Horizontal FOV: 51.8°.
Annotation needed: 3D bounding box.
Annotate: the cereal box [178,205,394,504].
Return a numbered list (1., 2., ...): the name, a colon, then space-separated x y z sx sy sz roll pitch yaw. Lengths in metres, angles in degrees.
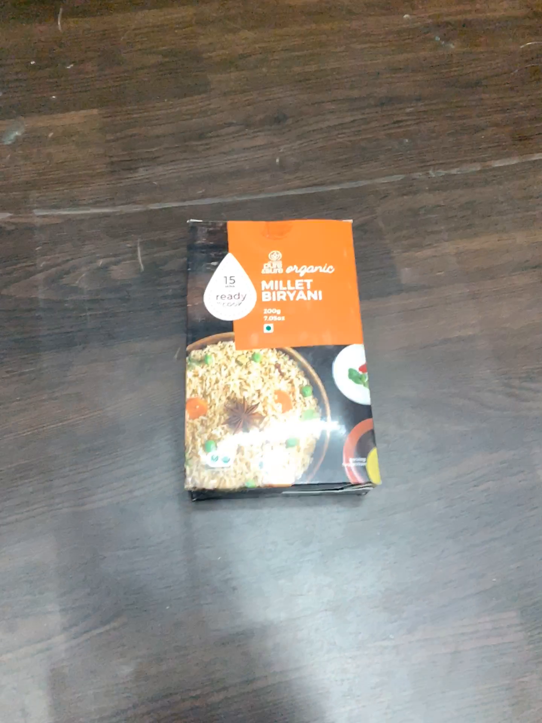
1. cereal box: 0.004 -0.006 0.336 0.110 0.050 0.170 0 69 -5
